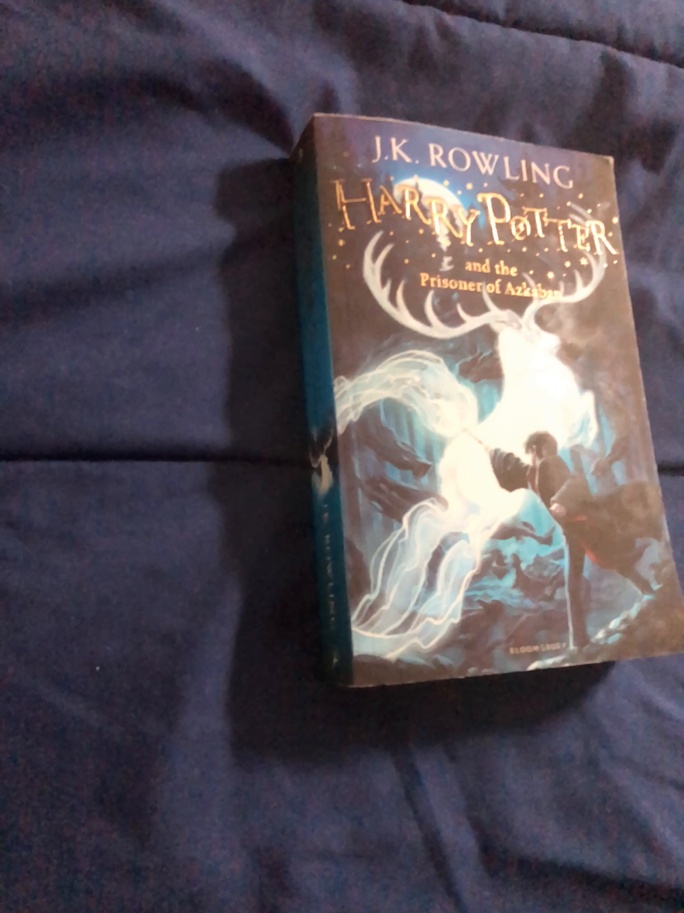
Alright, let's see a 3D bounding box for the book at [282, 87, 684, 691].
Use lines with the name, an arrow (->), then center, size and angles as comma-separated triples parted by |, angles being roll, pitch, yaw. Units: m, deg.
book -> 0.052, -0.024, 0.286 | 0.134, 0.045, 0.200 | 0, 80, -19
